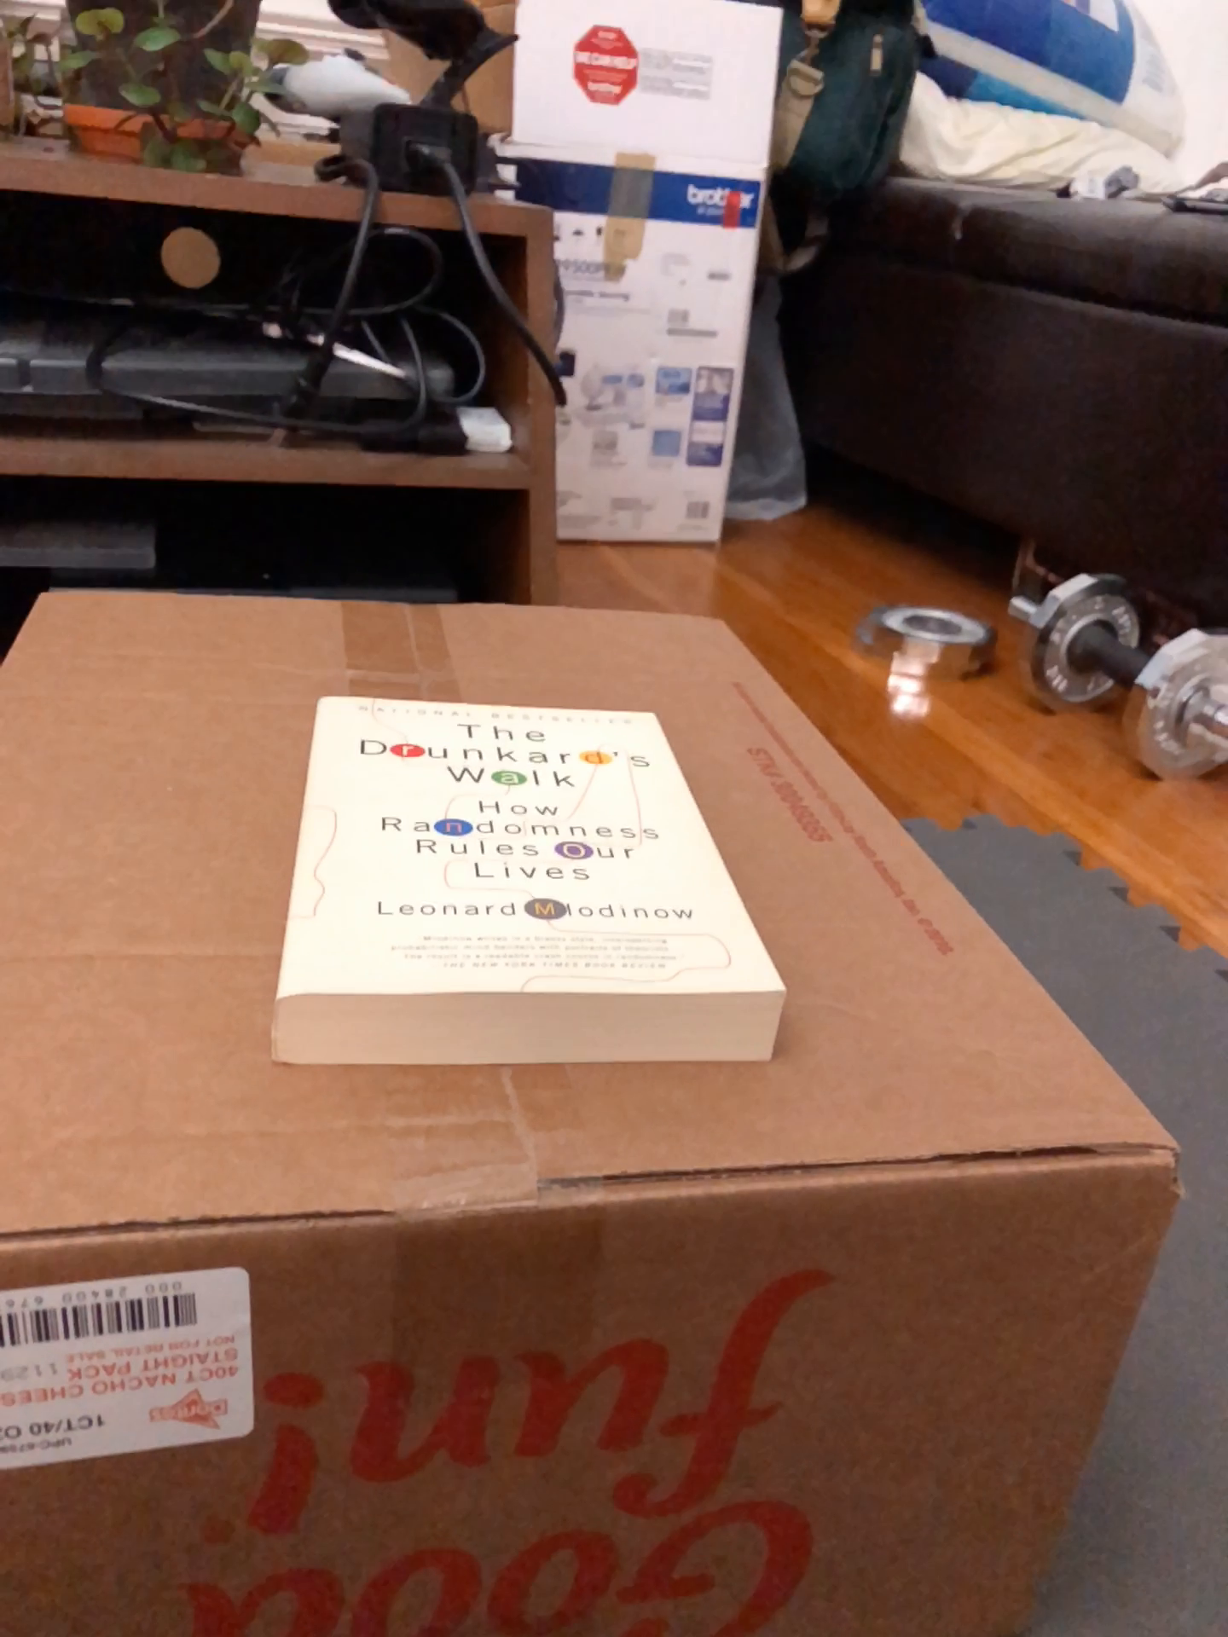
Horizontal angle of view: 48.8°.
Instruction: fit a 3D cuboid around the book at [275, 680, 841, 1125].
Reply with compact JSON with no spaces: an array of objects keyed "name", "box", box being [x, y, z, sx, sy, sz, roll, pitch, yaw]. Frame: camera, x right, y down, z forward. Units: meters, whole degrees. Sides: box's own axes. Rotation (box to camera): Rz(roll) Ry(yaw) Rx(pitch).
[{"name":"book","box":[-0.029,0.013,0.434,0.140,0.040,0.211,1,26,-10]}]
